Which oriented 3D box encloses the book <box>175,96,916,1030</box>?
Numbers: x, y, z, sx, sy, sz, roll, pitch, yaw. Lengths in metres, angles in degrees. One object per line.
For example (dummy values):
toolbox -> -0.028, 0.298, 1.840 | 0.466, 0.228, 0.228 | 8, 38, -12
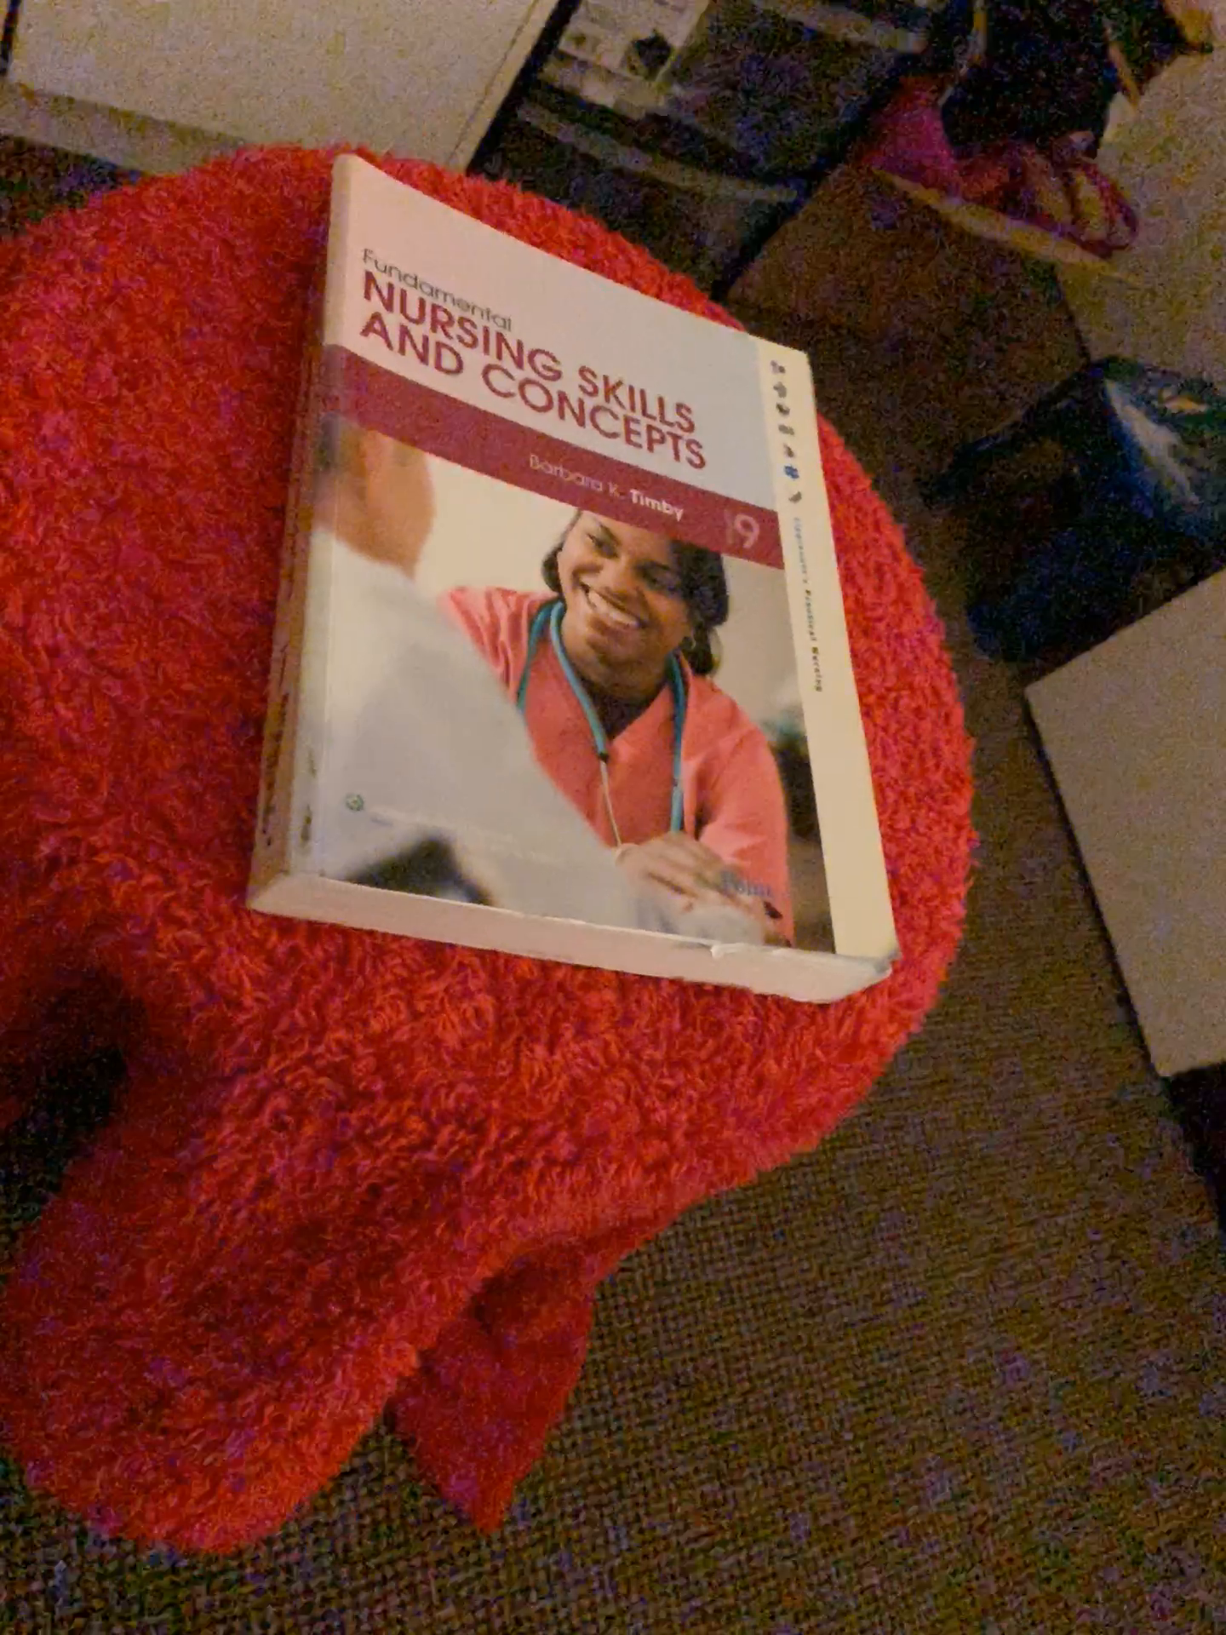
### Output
book -> -0.020, -0.088, 0.467 | 0.230, 0.070, 0.302 | 12, 61, -28
